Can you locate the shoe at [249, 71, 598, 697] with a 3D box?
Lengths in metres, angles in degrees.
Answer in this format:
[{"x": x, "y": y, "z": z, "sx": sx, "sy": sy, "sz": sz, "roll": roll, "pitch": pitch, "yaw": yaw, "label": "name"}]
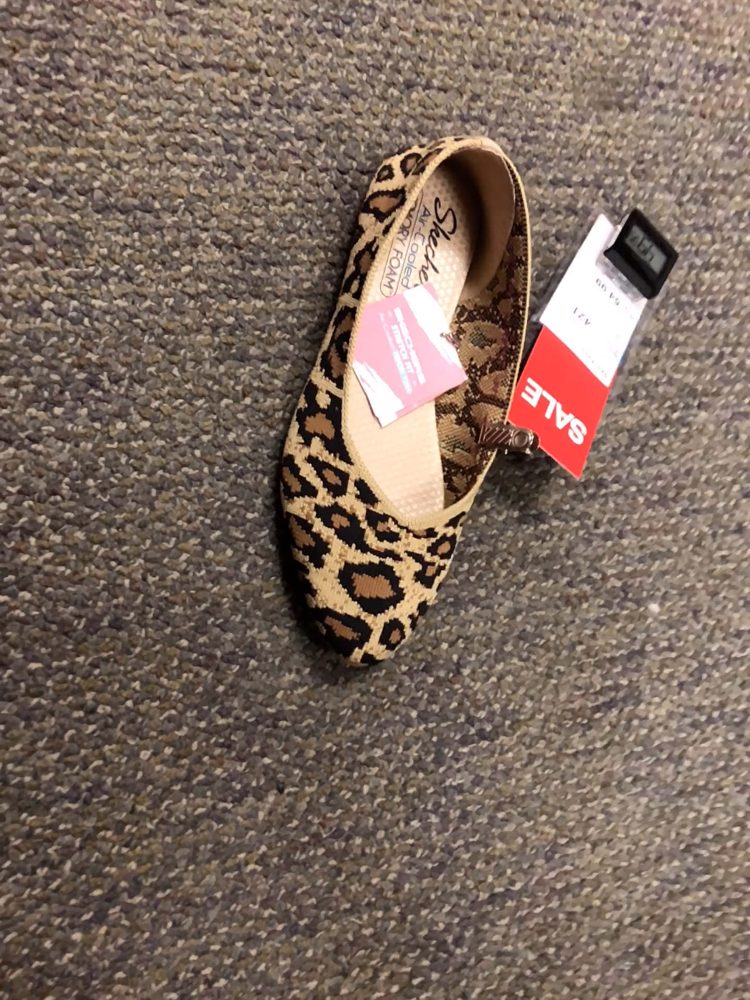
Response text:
[{"x": 0.022, "y": -0.042, "z": 0.356, "sx": 0.105, "sy": 0.056, "sz": 0.232, "roll": 11, "pitch": 83, "yaw": -22, "label": "shoe"}]
